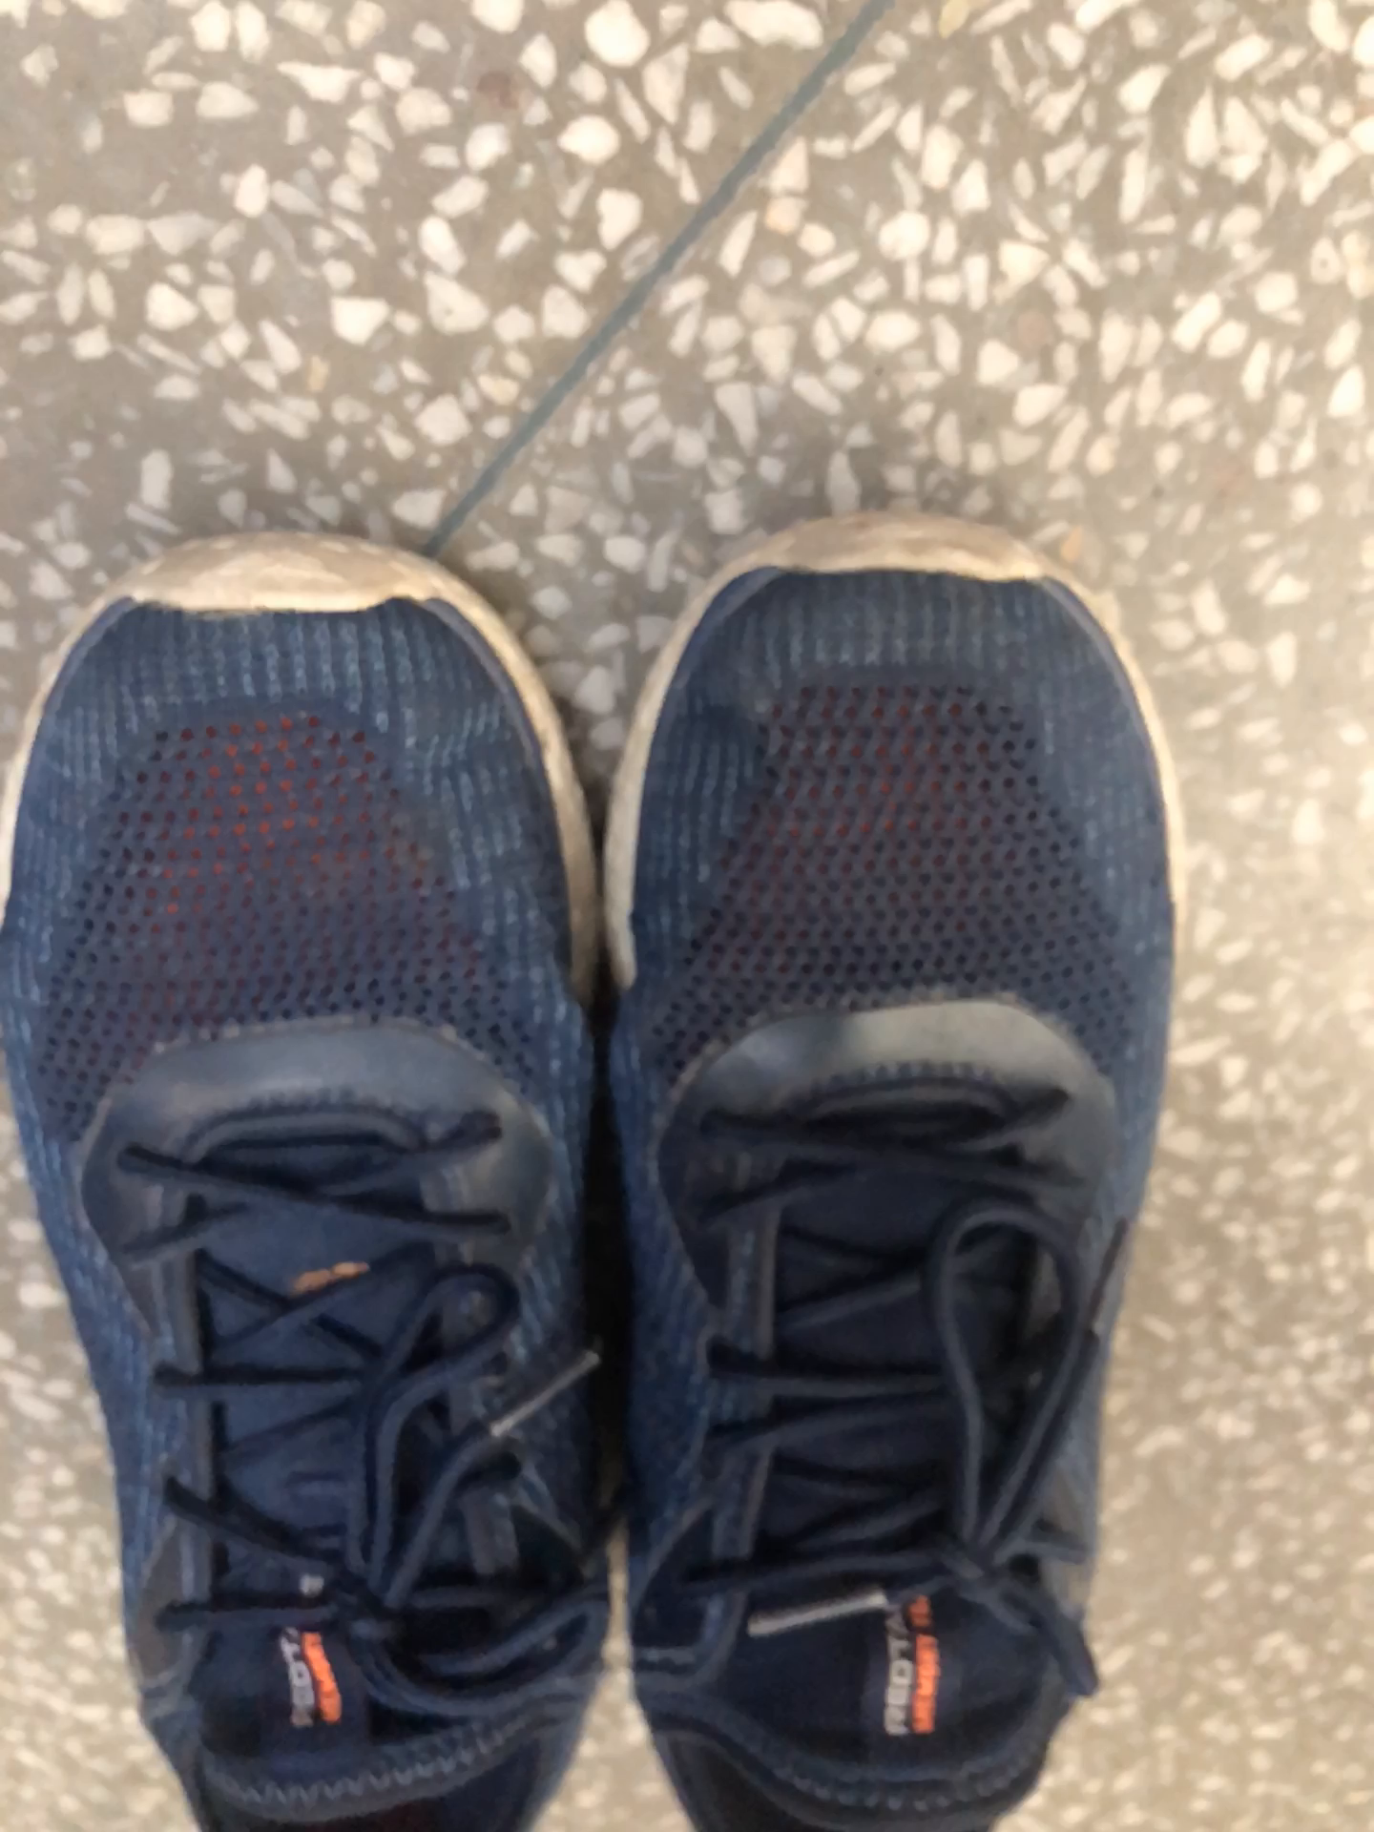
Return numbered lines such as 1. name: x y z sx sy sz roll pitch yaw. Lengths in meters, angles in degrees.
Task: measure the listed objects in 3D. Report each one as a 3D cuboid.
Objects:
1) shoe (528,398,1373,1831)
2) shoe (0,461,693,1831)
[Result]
1. shoe: 0.045 0.049 0.277 0.123 0.099 0.250 -2 120 -2
2. shoe: -0.064 0.061 0.277 0.113 0.099 0.250 -4 120 -1
